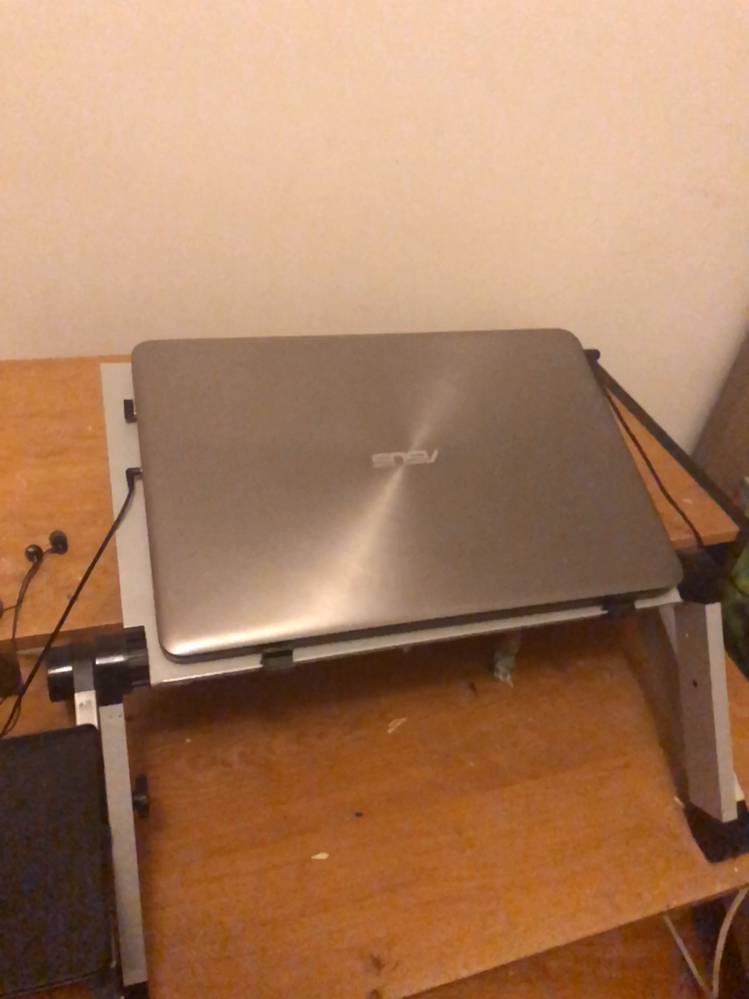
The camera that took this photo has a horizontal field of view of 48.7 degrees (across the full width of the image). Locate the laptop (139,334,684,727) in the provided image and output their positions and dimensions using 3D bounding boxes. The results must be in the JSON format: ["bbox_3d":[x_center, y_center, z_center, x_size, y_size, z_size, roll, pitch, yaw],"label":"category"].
[{"bbox_3d":[0.017,0.002,0.638,0.362,0.071,0.250,-5,56,-16],"label":"laptop"}]
